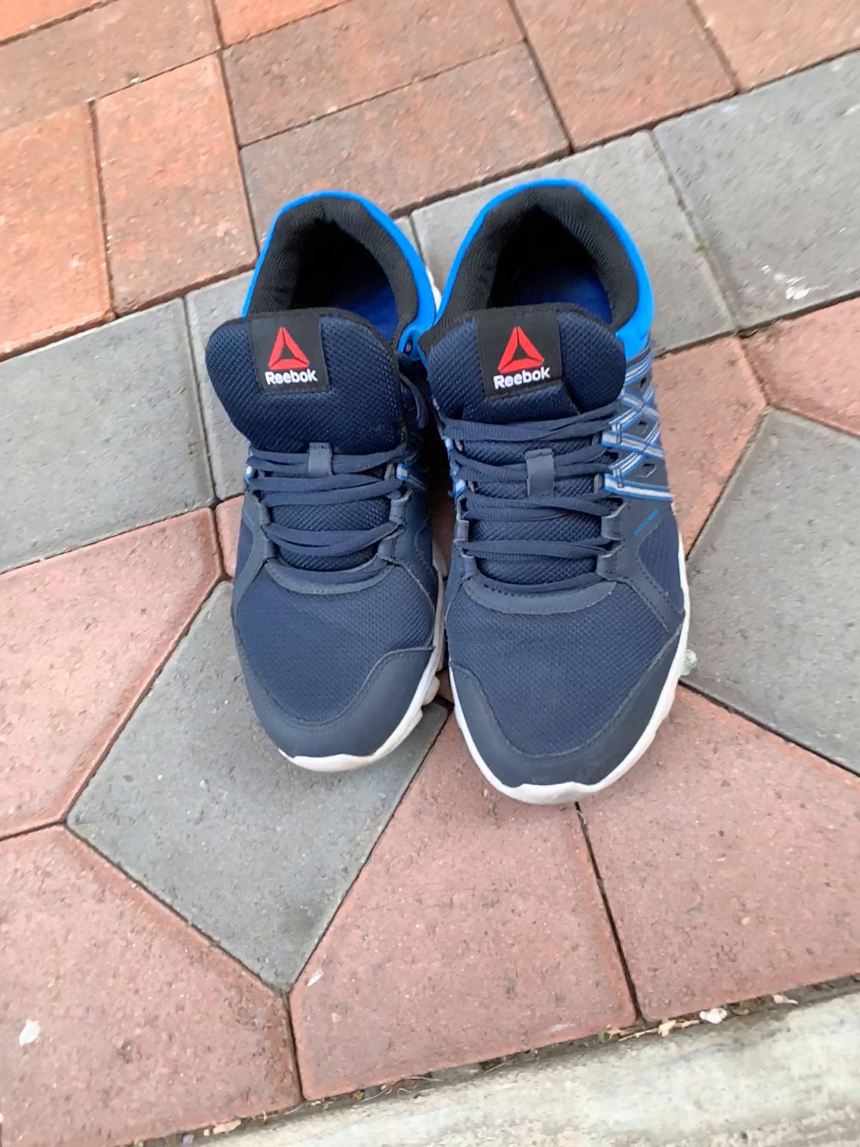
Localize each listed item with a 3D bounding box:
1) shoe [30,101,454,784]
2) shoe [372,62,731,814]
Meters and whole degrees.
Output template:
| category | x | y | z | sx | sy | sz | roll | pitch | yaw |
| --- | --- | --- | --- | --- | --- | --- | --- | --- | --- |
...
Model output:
| category | x | y | z | sx | sy | sz | roll | pitch | yaw |
| --- | --- | --- | --- | --- | --- | --- | --- | --- | --- |
| shoe | -0.062 | -0.050 | 0.385 | 0.110 | 0.119 | 0.261 | -1 | 71 | 14 |
| shoe | 0.057 | -0.051 | 0.372 | 0.110 | 0.119 | 0.281 | -1 | 71 | 13 |
